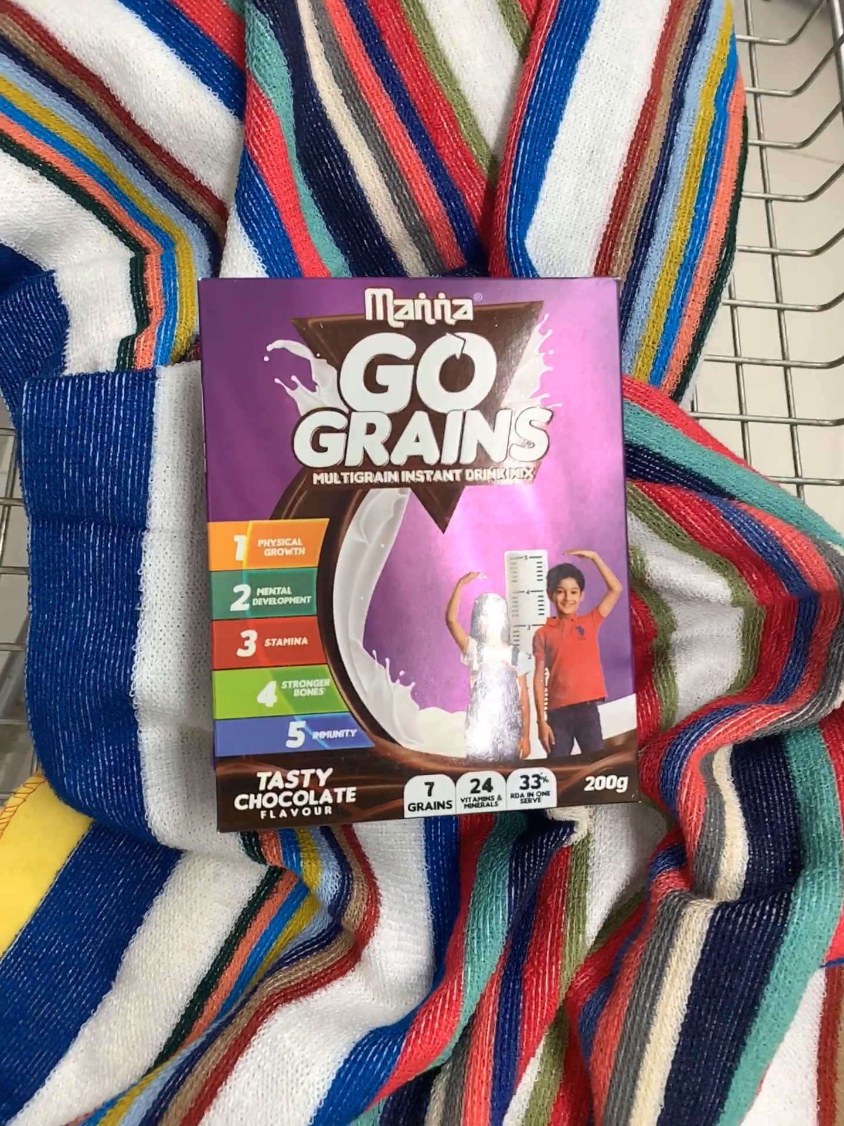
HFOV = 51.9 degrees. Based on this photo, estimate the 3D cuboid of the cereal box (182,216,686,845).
[{"bbox_3d":[0.003,-0.010,0.269,0.140,0.050,0.170,-2,91,-8],"label":"cereal box"}]
